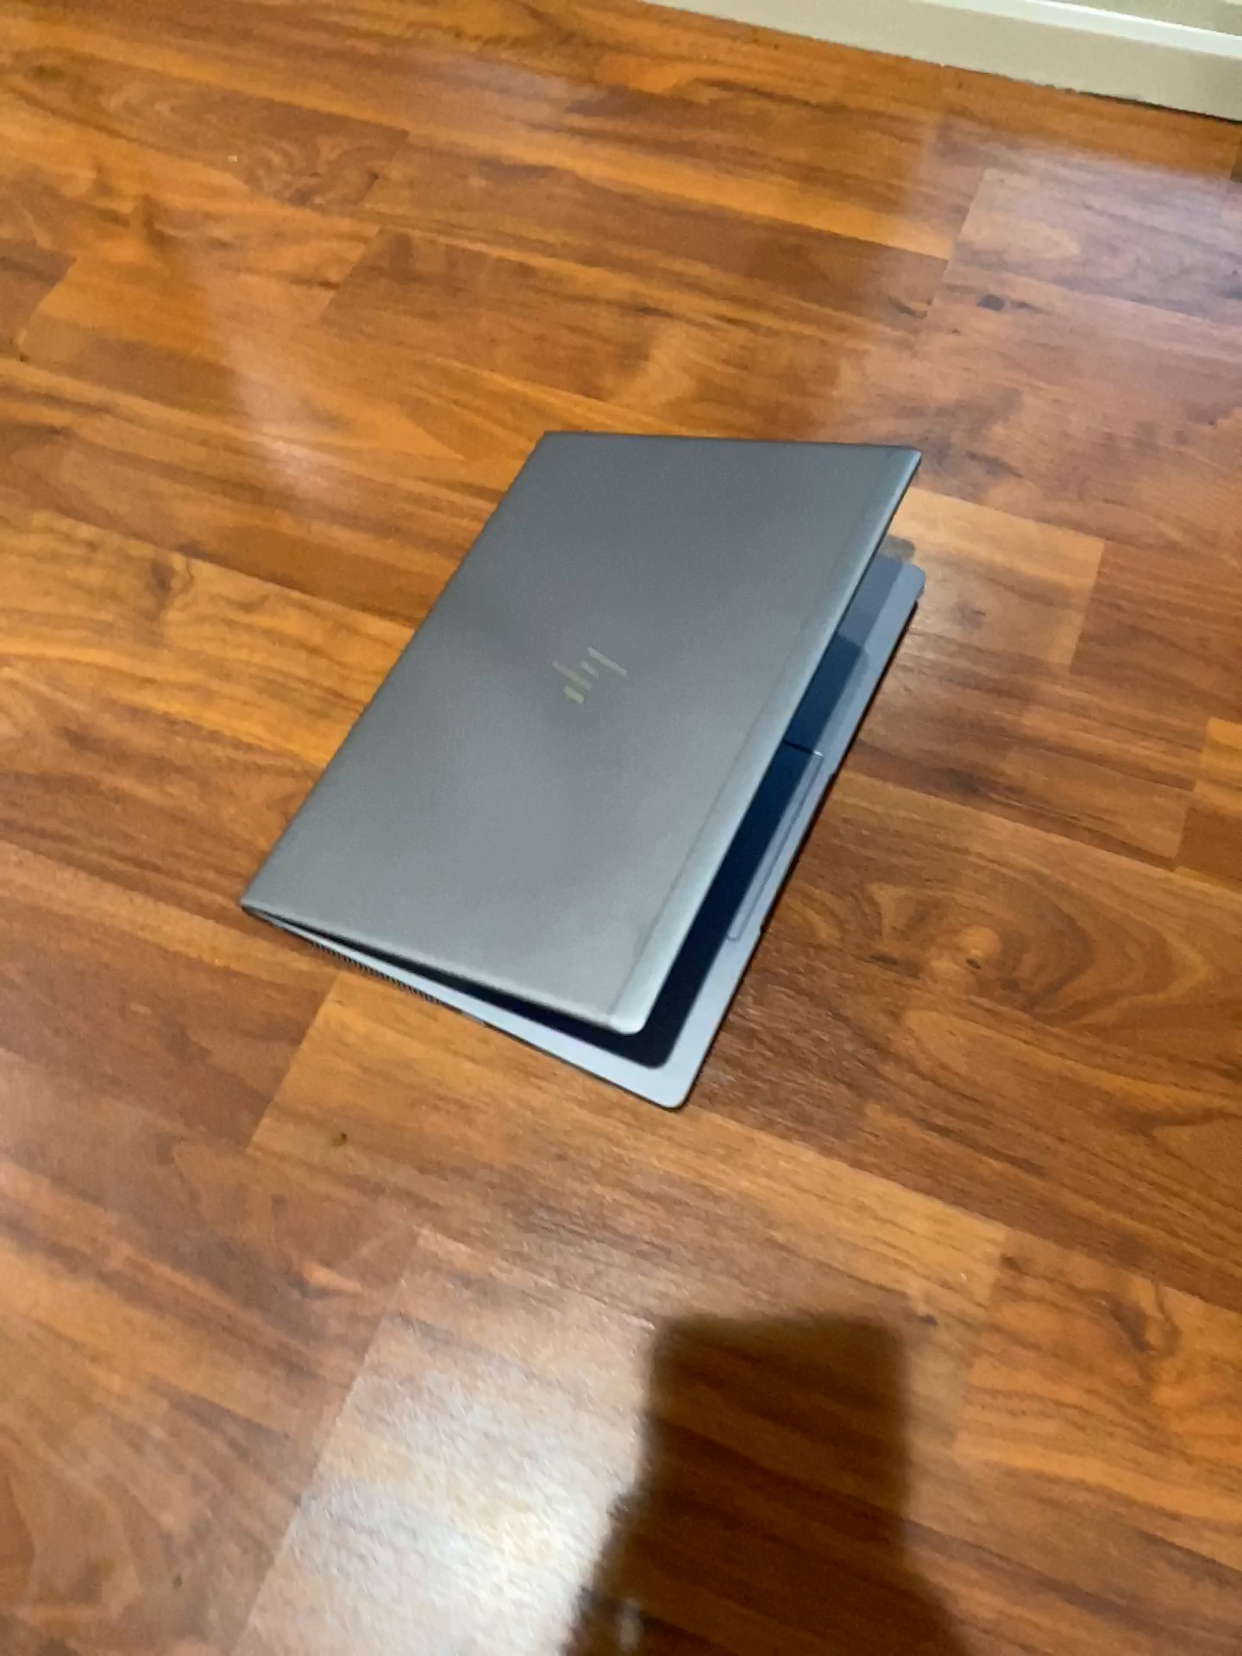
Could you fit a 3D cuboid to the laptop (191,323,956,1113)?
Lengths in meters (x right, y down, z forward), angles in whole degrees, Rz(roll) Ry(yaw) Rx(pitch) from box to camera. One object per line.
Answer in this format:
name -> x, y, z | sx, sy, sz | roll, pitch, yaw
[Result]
laptop -> -0.009, -0.069, 0.613 | 0.230, 0.078, 0.325 | 23, 68, 11
